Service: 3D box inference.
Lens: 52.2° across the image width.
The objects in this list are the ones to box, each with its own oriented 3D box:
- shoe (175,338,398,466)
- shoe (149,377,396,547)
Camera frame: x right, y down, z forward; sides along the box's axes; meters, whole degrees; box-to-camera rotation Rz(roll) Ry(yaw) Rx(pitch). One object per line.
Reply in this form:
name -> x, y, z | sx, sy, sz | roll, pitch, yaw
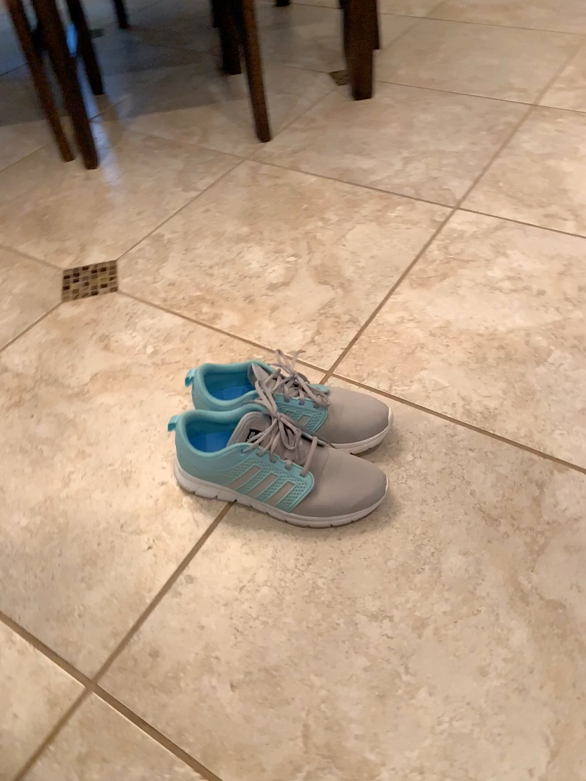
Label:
shoe -> -0.002, 0.013, 0.800 | 0.271, 0.108, 0.107 | 4, 48, 9
shoe -> -0.021, 0.084, 0.740 | 0.271, 0.108, 0.107 | 12, 50, 16
